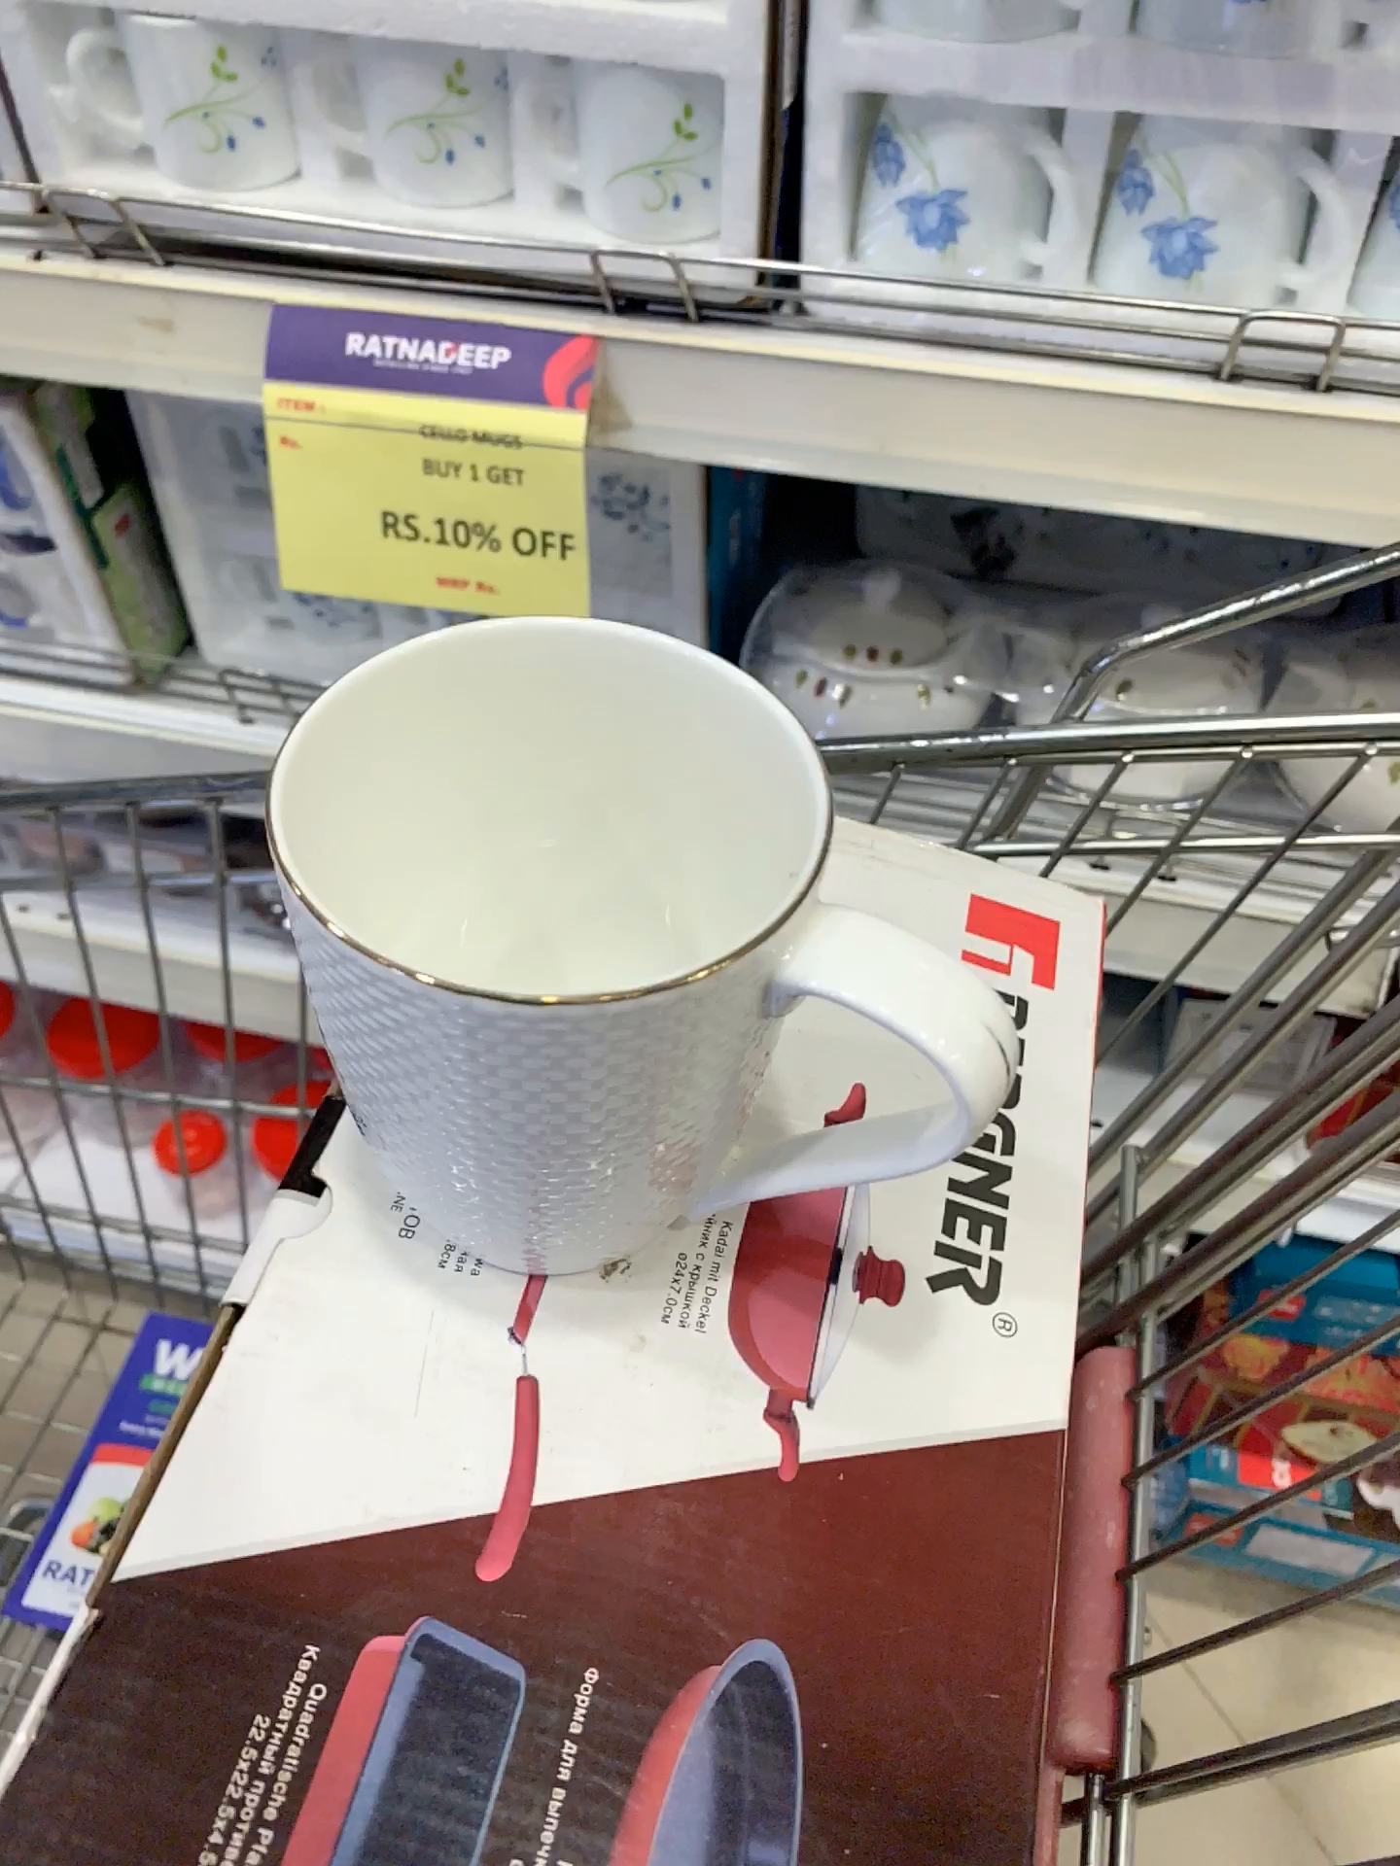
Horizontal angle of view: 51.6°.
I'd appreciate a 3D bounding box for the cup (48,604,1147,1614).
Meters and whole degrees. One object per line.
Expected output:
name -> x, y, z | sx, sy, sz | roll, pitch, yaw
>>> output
cup -> -0.011, 0.023, 0.226 | 0.120, 0.080, 0.090 | 21, 51, 16
